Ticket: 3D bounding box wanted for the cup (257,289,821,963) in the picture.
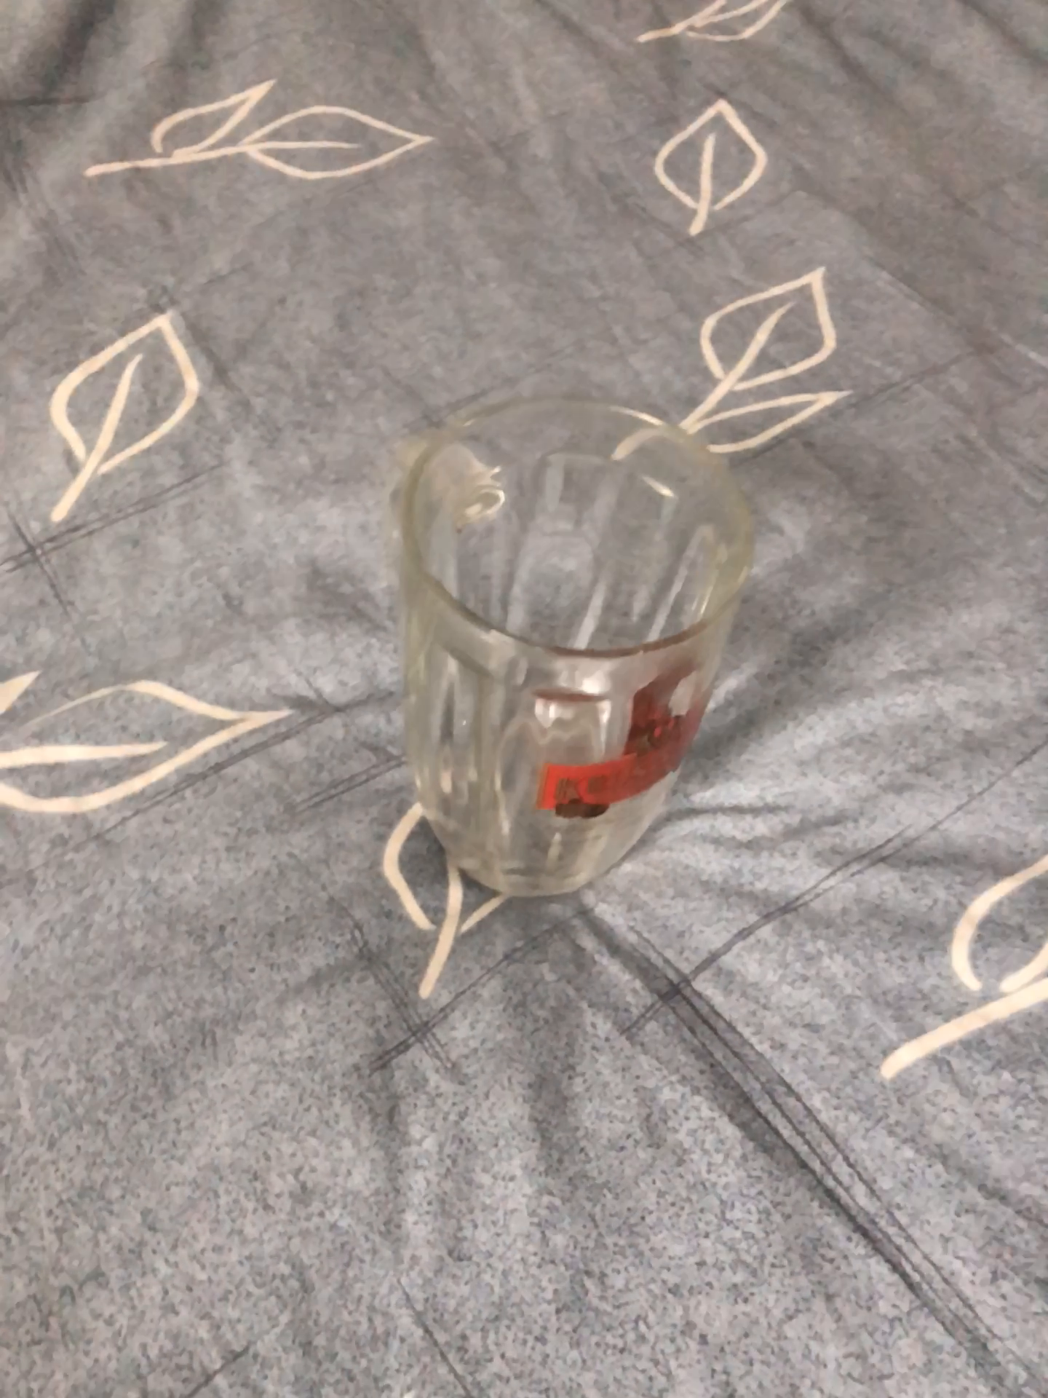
[{"bbox_3d":[0.000,-0.020,0.359,0.091,0.136,0.128,-29,58,-20],"label":"cup"}]
